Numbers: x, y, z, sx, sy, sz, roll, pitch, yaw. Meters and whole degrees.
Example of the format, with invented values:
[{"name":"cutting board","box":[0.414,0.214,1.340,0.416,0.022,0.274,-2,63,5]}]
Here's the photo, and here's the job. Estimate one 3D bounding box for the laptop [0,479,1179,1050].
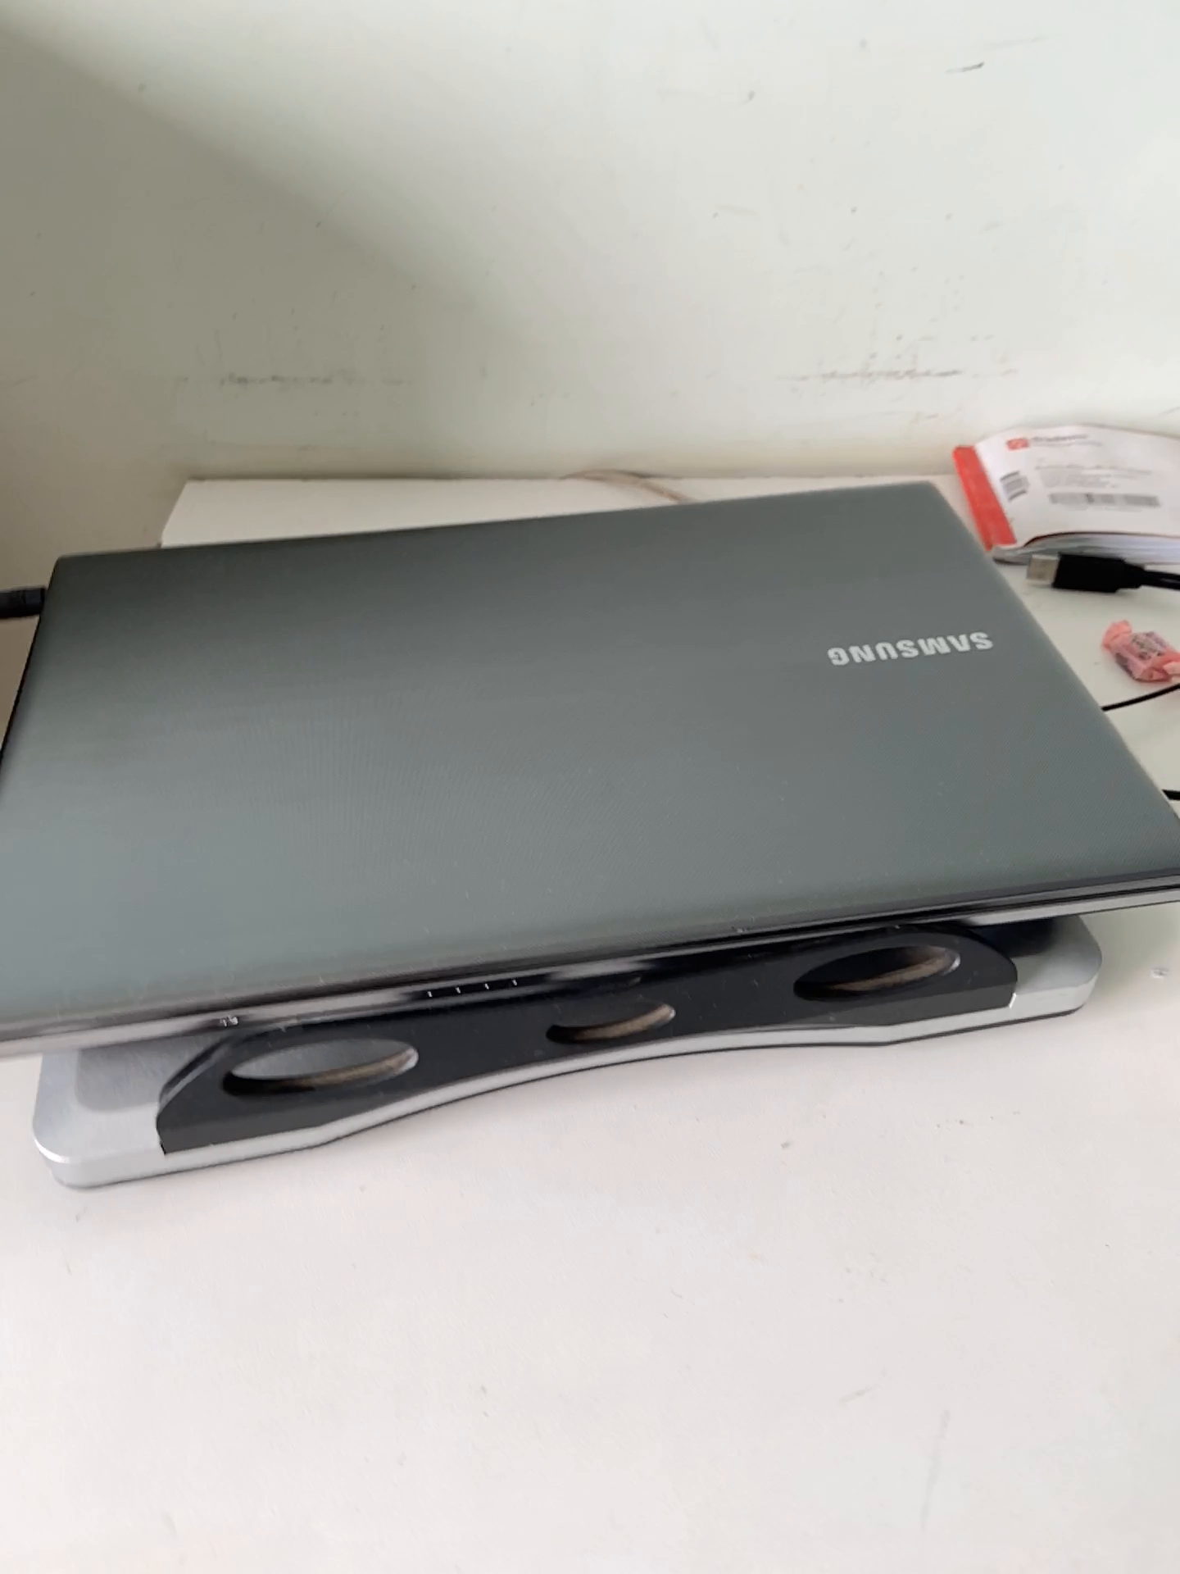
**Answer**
[{"name":"laptop","box":[-0.013,-0.033,0.434,0.373,0.005,0.237,-7,43,-7]}]
